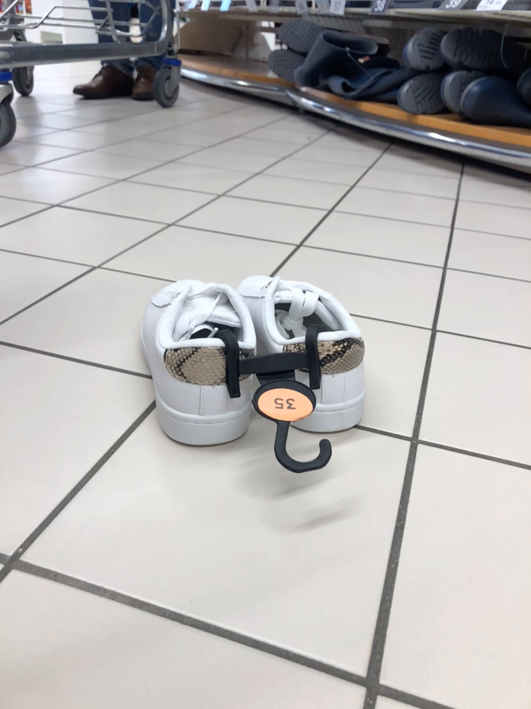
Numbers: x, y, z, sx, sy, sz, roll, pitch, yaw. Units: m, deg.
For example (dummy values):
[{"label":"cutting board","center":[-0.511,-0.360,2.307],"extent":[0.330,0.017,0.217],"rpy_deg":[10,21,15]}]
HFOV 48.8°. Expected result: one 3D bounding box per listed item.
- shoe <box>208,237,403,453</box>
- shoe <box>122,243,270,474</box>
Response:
[{"label":"shoe","center":[0.017,-0.025,0.515],"extent":[0.090,0.080,0.241],"rpy_deg":[-5,30,-16]},{"label":"shoe","center":[-0.070,-0.015,0.490],"extent":[0.090,0.080,0.241],"rpy_deg":[-3,30,-13]}]
